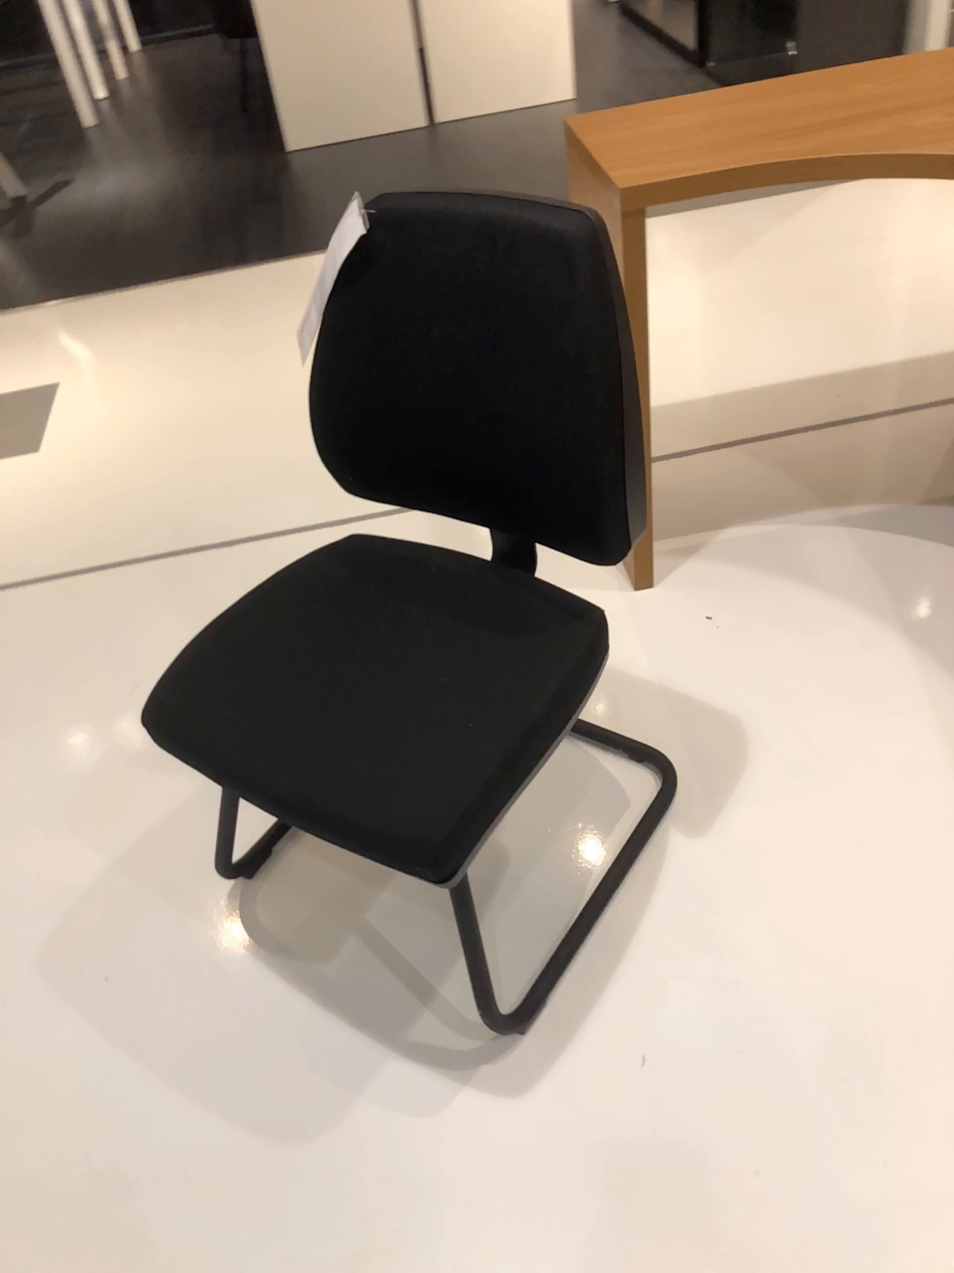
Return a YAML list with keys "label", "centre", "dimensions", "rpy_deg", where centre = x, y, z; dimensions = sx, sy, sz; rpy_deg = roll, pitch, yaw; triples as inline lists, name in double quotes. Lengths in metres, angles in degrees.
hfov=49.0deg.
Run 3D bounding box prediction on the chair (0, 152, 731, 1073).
- label: "chair"
  centre: [-0.067, -0.038, 1.308]
  dimensions: [0.552, 0.873, 0.562]
  rpy_deg: [18, 48, 29]
